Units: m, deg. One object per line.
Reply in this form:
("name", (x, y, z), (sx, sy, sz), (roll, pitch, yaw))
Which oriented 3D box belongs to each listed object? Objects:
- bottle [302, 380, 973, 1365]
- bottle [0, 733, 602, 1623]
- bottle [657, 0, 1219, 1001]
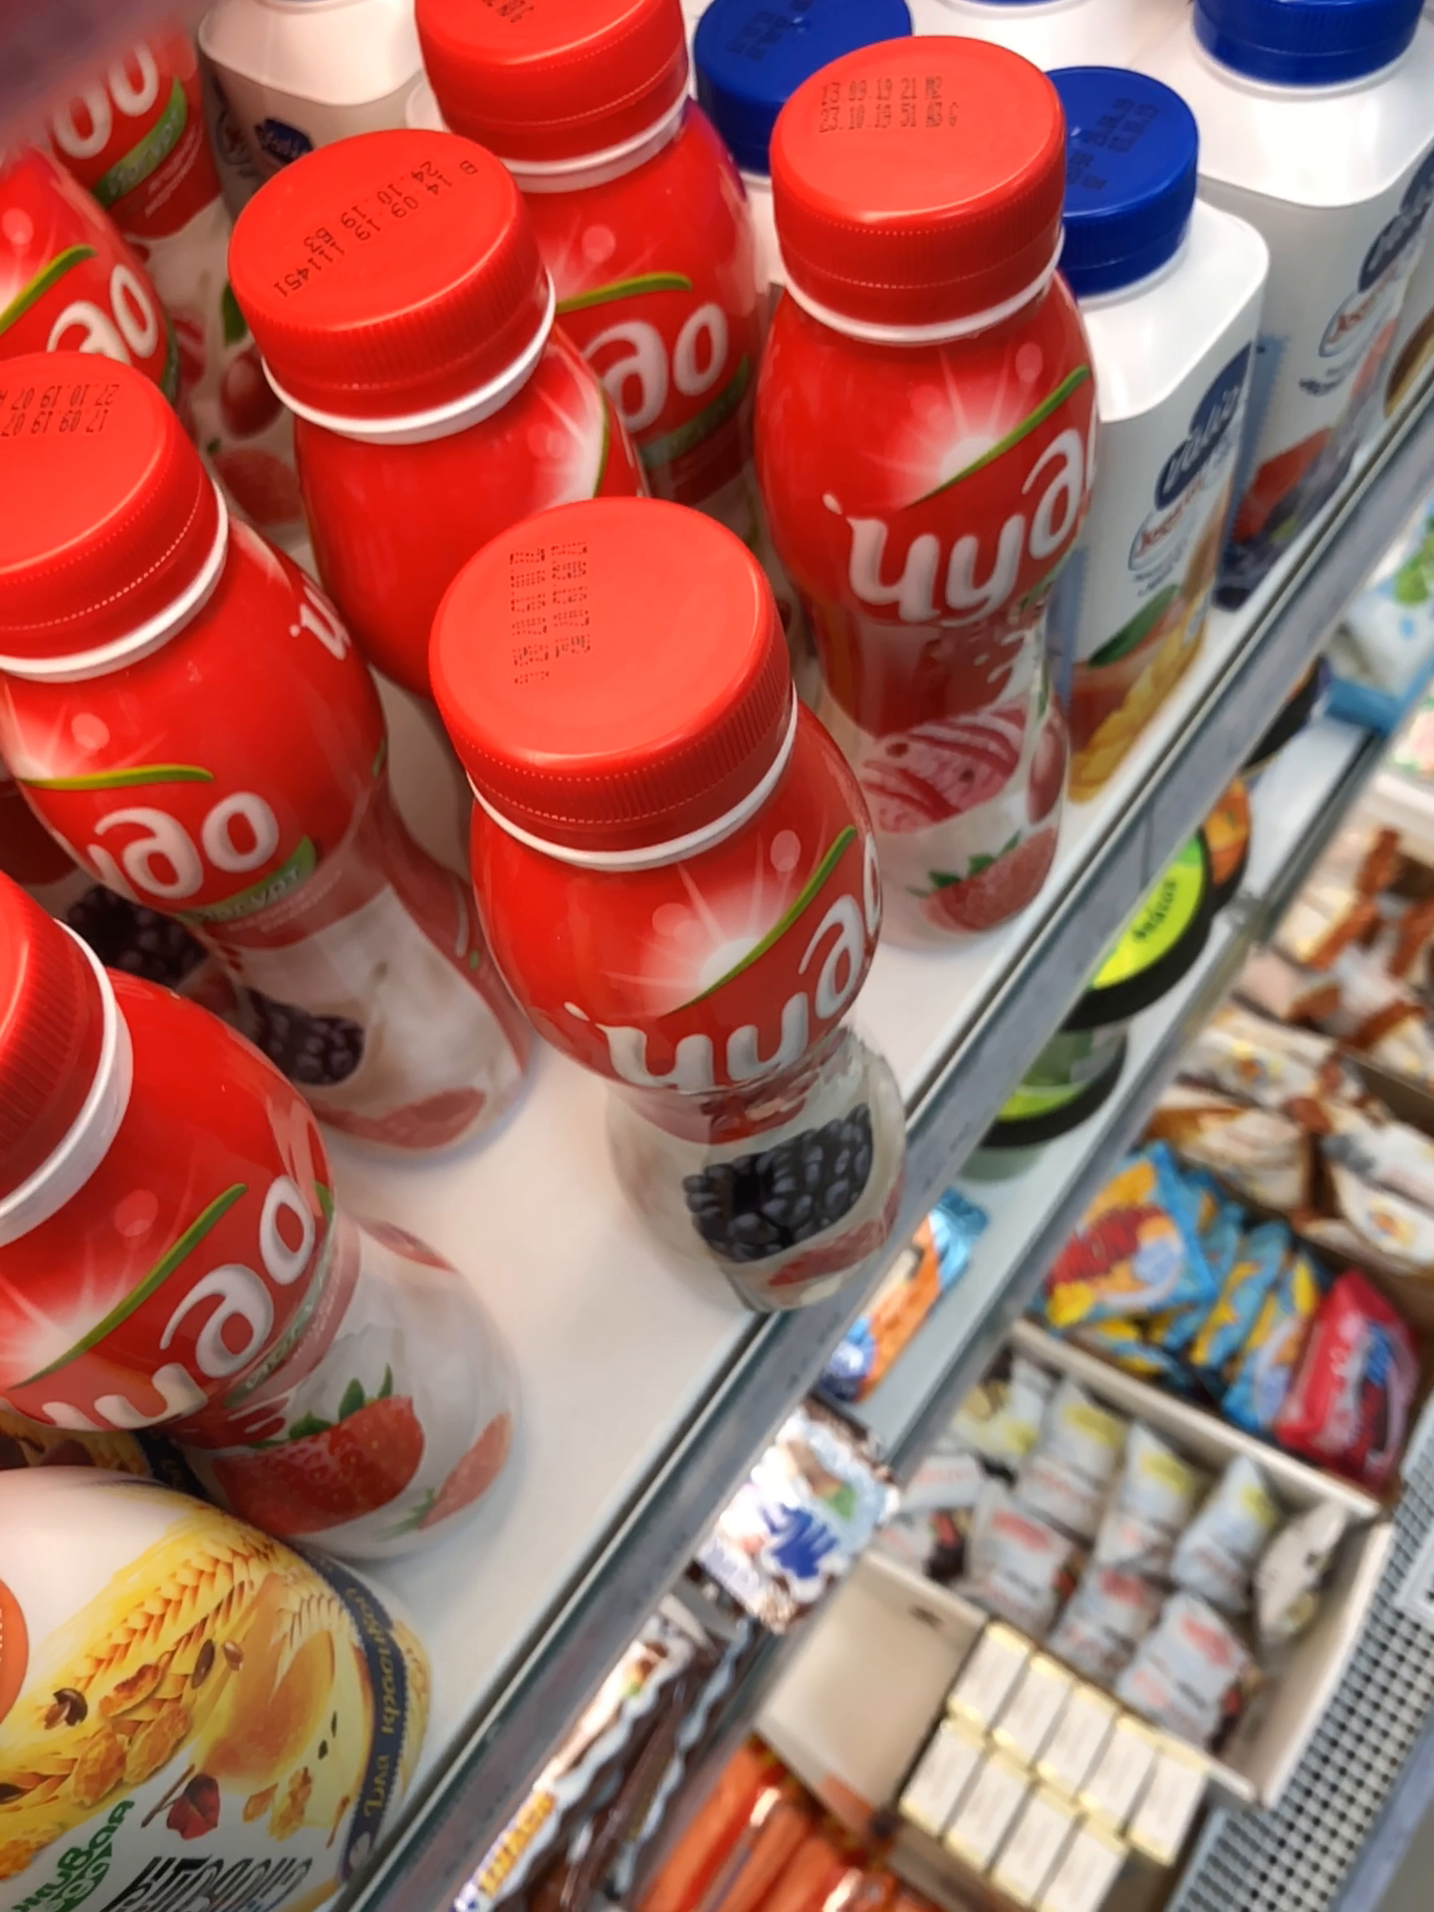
("bottle", (0.001, 0.006, 0.253), (0.050, 0.182, 0.054), (-3, 62, 6))
("bottle", (-0.069, 0.050, 0.236), (0.050, 0.182, 0.054), (-3, 62, 6))
("bottle", (0.038, -0.064, 0.286), (0.050, 0.182, 0.054), (-3, 62, 6))
